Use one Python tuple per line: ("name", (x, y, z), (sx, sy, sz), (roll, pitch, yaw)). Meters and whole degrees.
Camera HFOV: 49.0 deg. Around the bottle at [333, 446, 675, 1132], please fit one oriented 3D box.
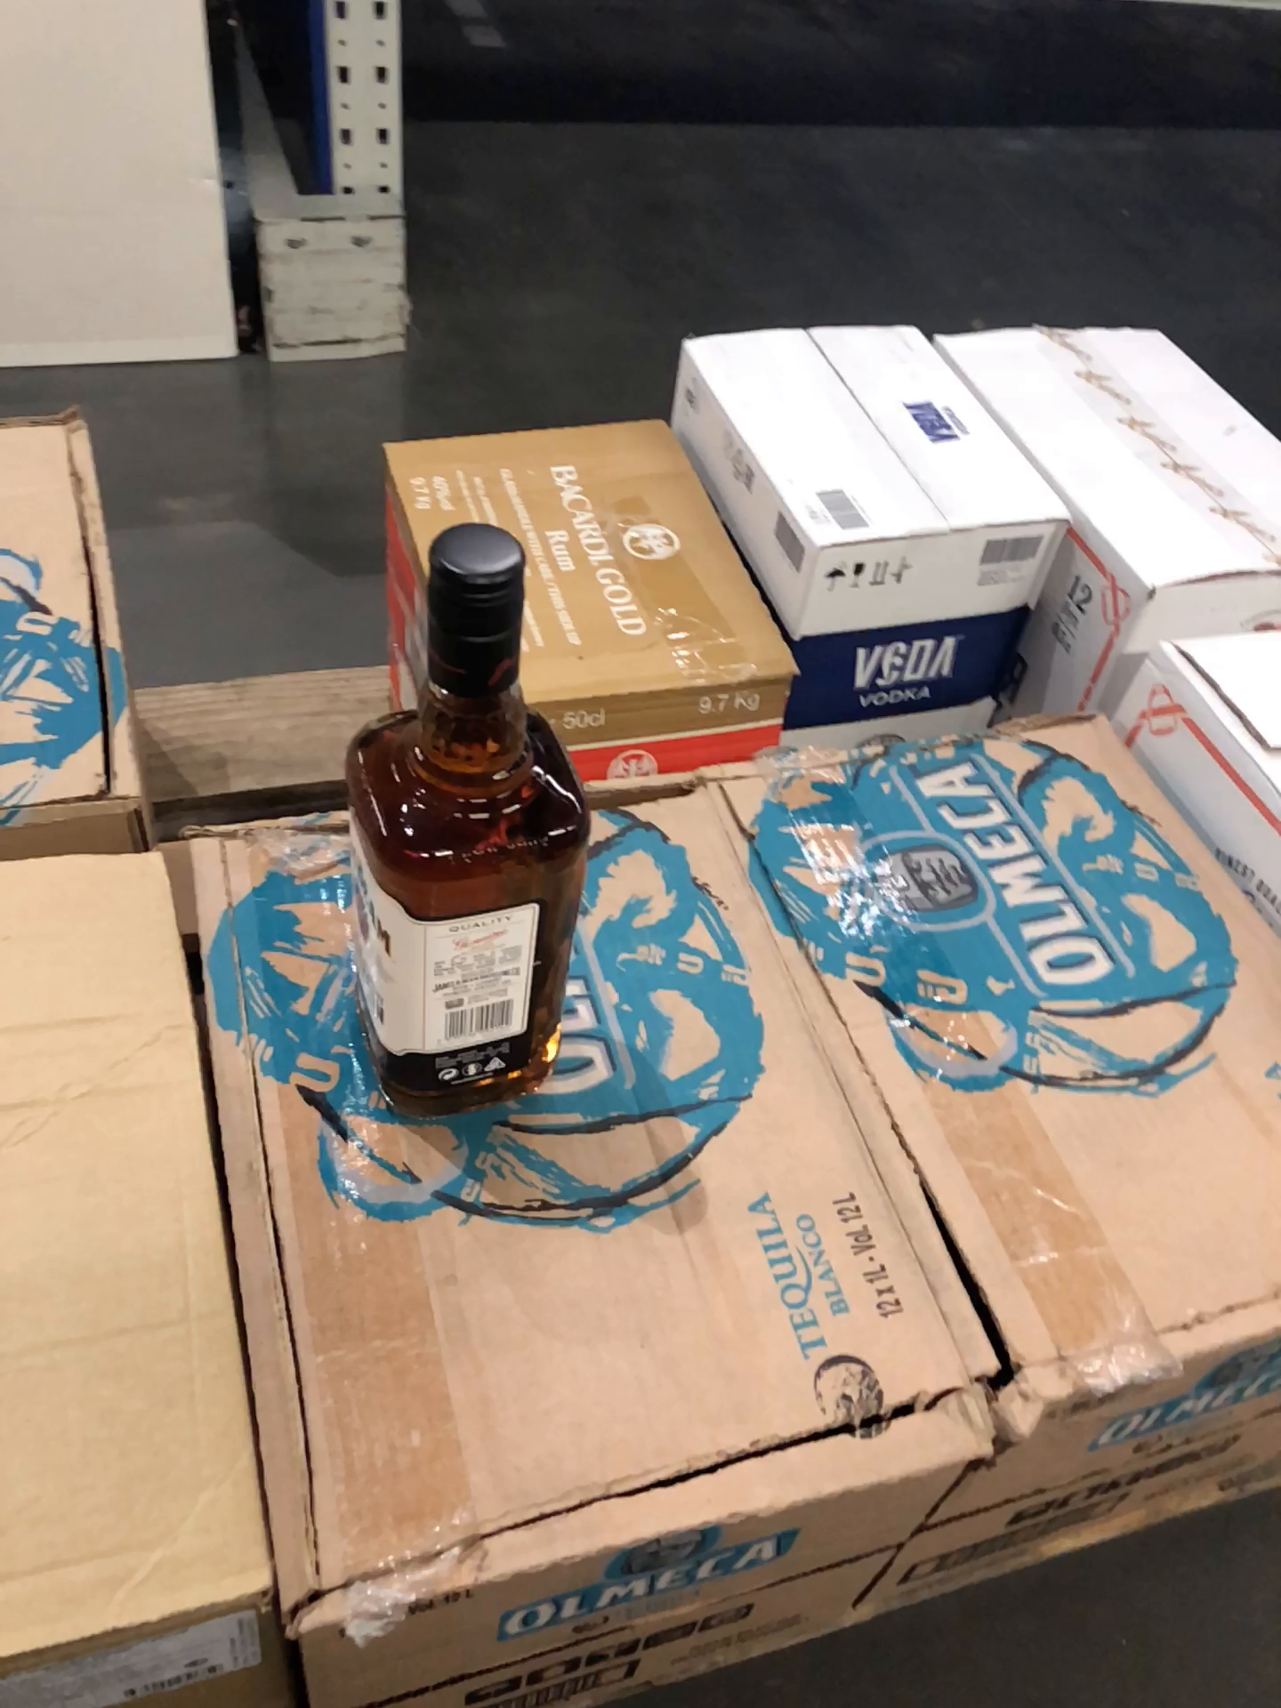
("bottle", (-0.060, -0.012, 0.532), (0.086, 0.258, 0.090), (5, 46, -5))
